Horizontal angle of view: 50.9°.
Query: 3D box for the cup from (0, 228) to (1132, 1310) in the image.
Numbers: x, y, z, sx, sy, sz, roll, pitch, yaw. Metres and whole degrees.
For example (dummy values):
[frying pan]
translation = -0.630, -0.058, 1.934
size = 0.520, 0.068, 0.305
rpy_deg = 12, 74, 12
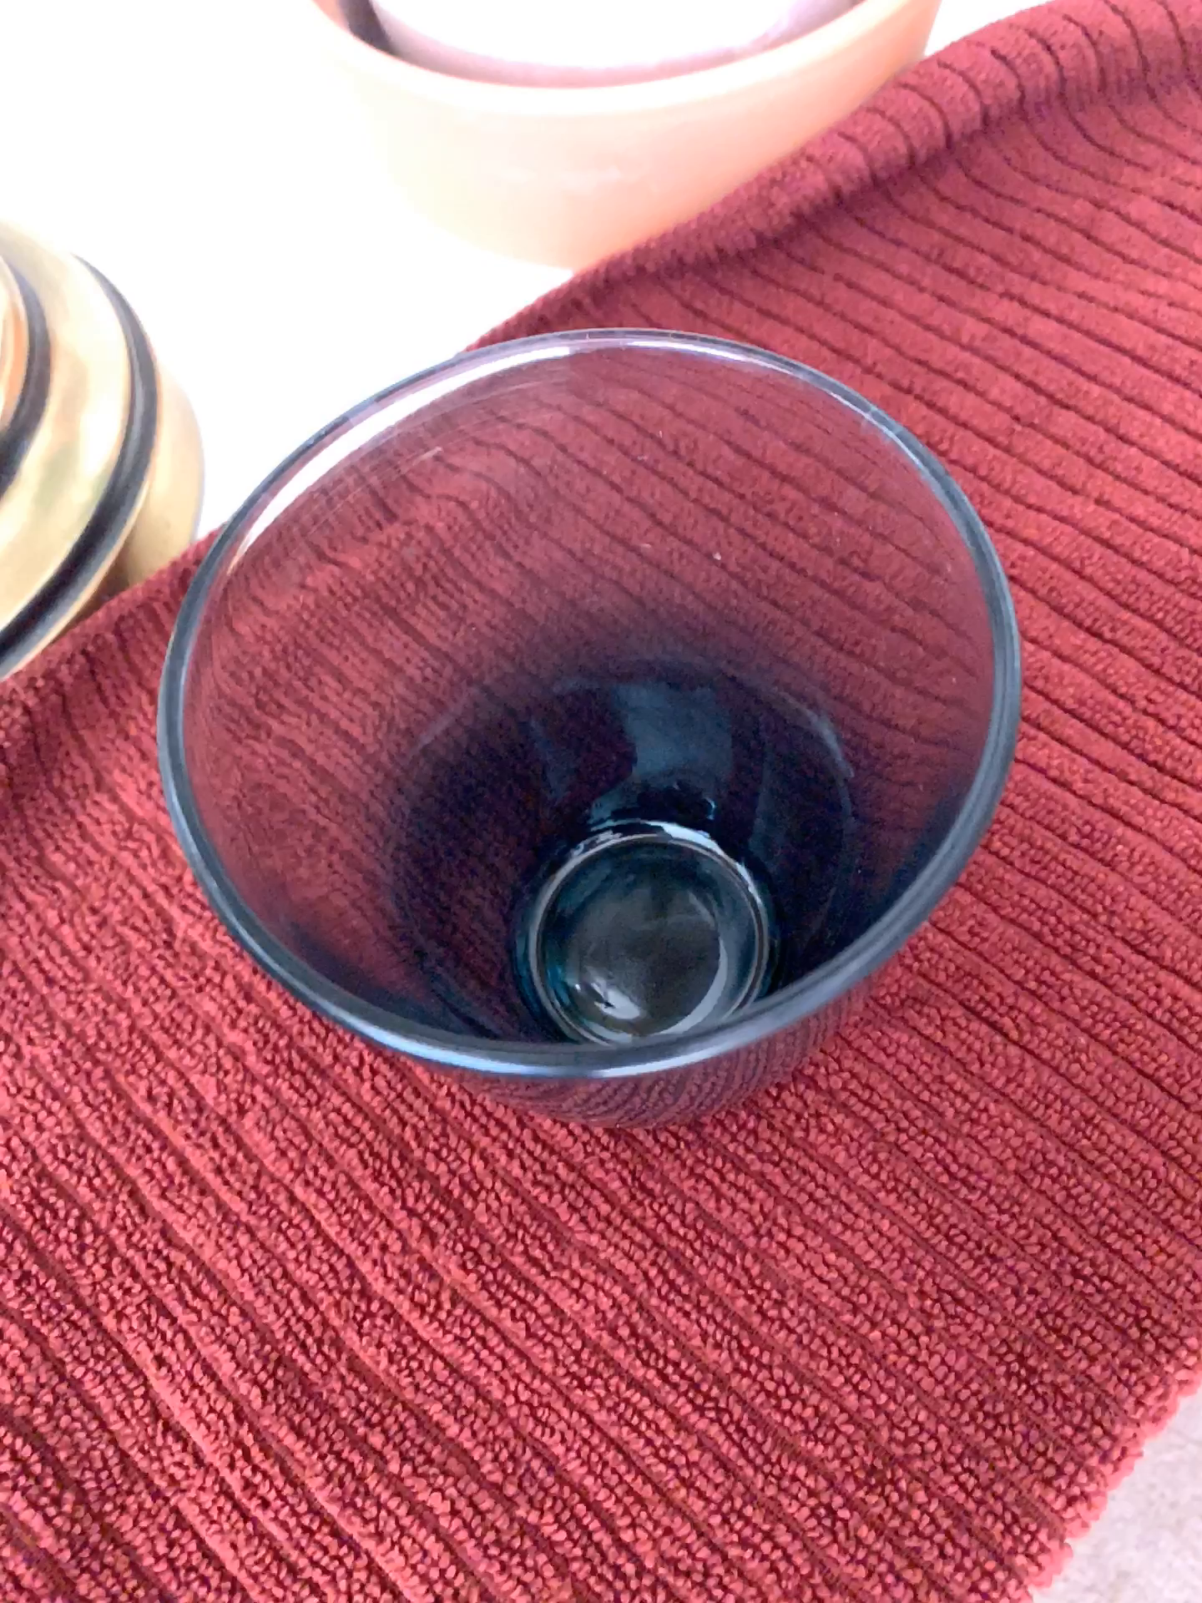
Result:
[cup]
translation = 0.002, -0.003, 0.151
size = 0.084, 0.070, 0.087
rpy_deg = -3, 62, 6
